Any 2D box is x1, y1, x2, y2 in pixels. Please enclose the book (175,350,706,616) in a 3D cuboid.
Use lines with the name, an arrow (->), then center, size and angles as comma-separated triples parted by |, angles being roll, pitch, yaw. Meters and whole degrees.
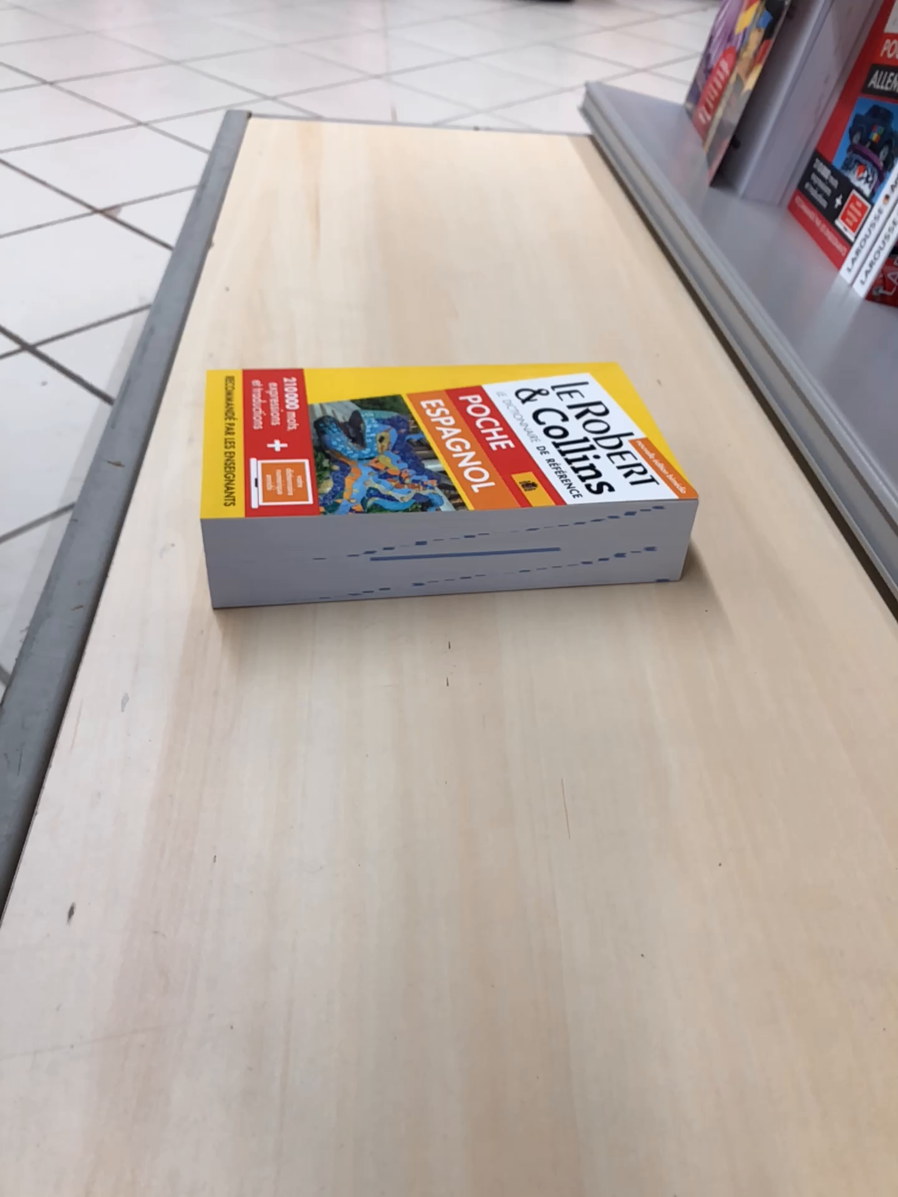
book -> -0.008, -0.051, 0.387 | 0.180, 0.040, 0.111 | -4, 41, -9
